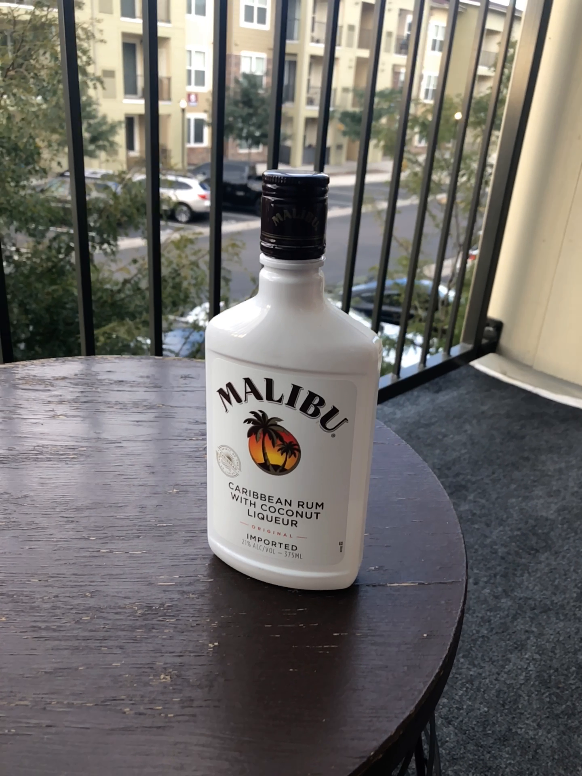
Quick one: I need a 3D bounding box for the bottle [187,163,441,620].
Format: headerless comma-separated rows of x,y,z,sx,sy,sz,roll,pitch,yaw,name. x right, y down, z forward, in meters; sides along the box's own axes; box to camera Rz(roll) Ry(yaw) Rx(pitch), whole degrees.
0.004,0.006,0.319,0.100,0.210,0.045,11,26,14,bottle
